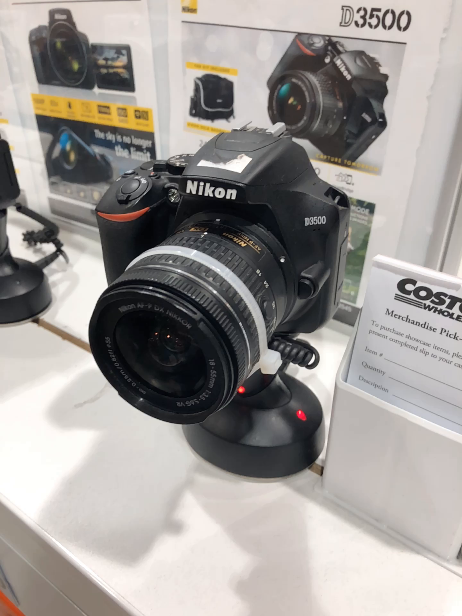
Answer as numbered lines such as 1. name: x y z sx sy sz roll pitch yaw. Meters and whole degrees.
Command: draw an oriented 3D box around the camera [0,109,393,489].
1. camera: -0.014 -0.020 0.230 0.140 0.100 0.120 11 34 18
